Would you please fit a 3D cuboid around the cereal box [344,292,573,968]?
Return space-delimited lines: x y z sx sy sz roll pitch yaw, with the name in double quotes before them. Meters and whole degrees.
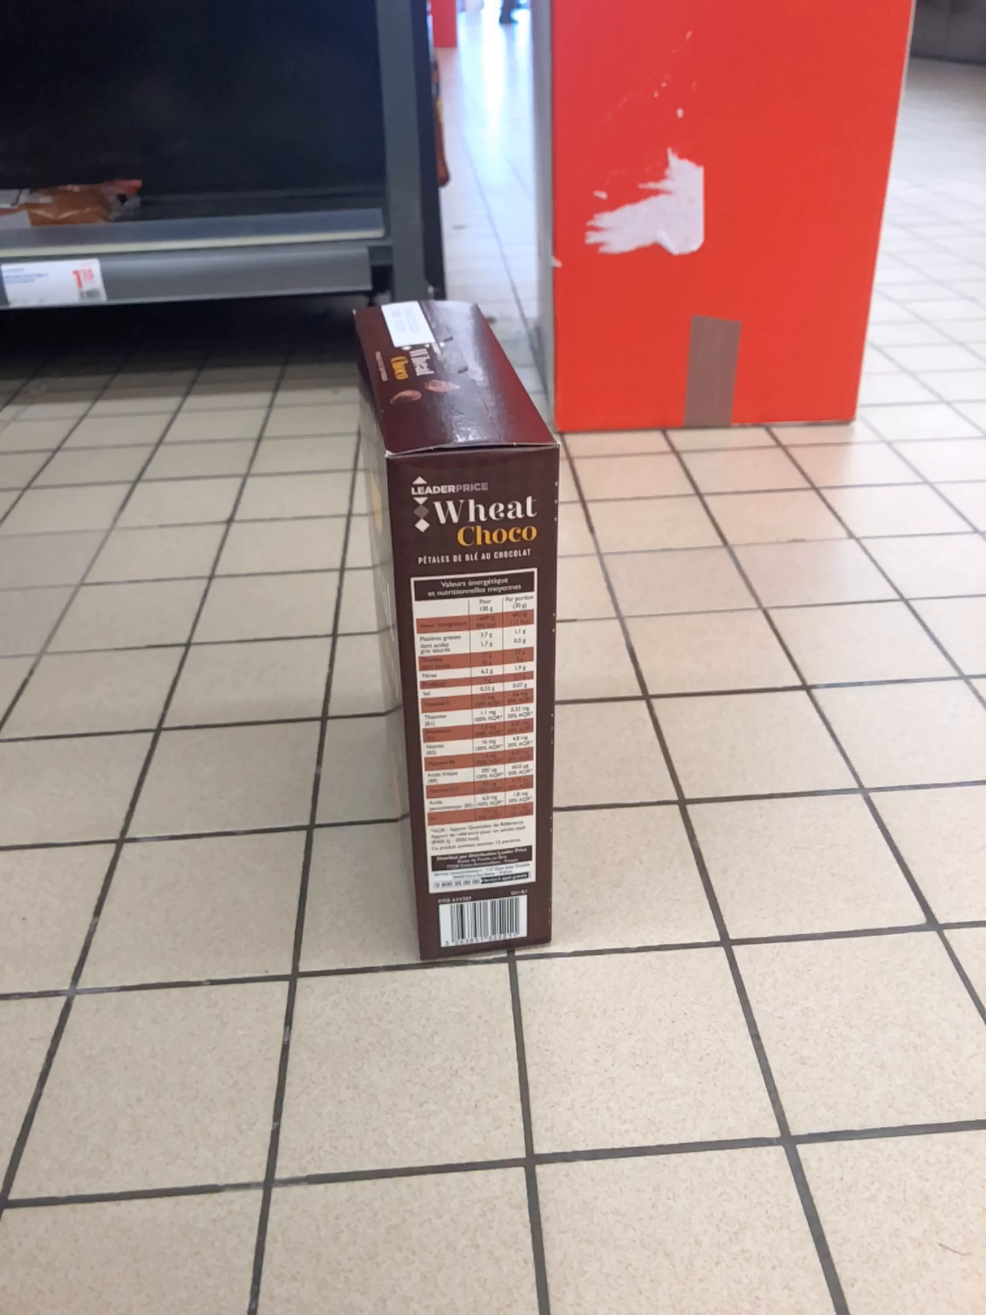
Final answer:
"cereal box" -0.019 -0.020 0.519 0.070 0.249 0.201 -6 32 -7
